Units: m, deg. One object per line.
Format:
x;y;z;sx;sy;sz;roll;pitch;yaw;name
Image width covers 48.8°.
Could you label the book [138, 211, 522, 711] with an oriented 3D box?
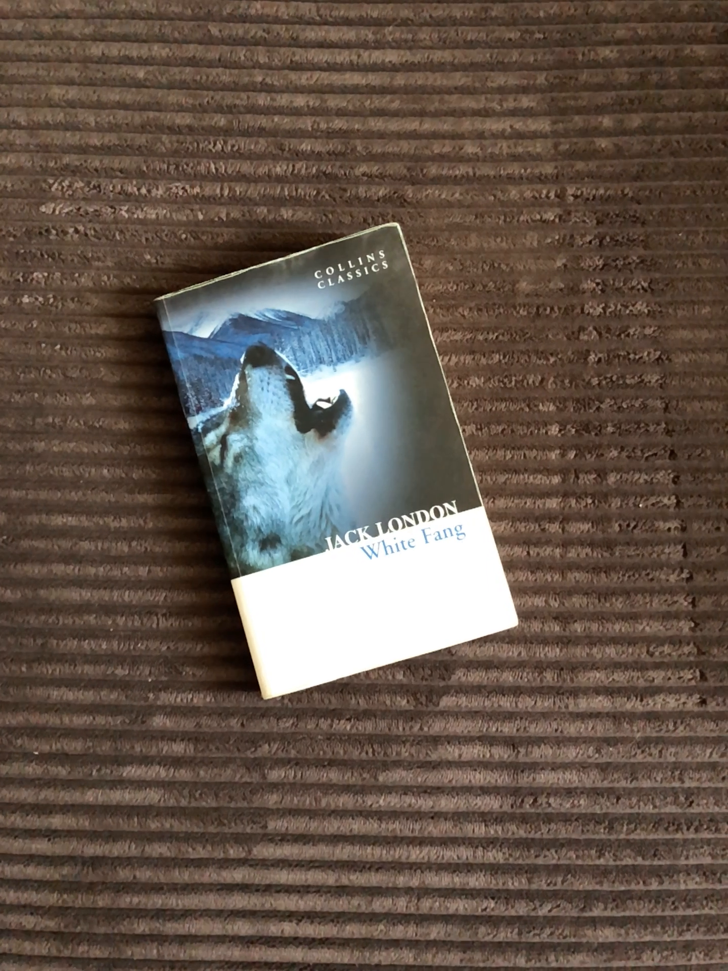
-0.014;-0.009;0.340;0.114;0.030;0.178;-15;89;6;book
